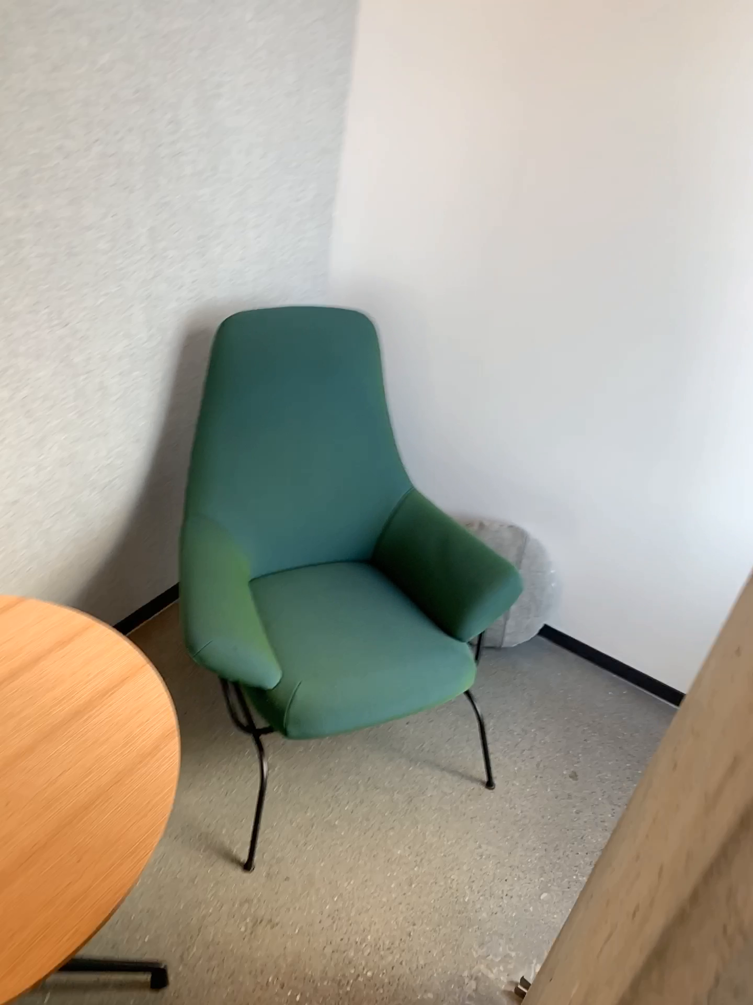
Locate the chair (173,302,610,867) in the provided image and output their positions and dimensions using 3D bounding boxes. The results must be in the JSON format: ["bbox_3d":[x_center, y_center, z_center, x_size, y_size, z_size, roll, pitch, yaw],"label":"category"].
[{"bbox_3d":[-0.078,0.145,1.868,0.650,1.014,0.755,-8,36,-25],"label":"chair"}]
